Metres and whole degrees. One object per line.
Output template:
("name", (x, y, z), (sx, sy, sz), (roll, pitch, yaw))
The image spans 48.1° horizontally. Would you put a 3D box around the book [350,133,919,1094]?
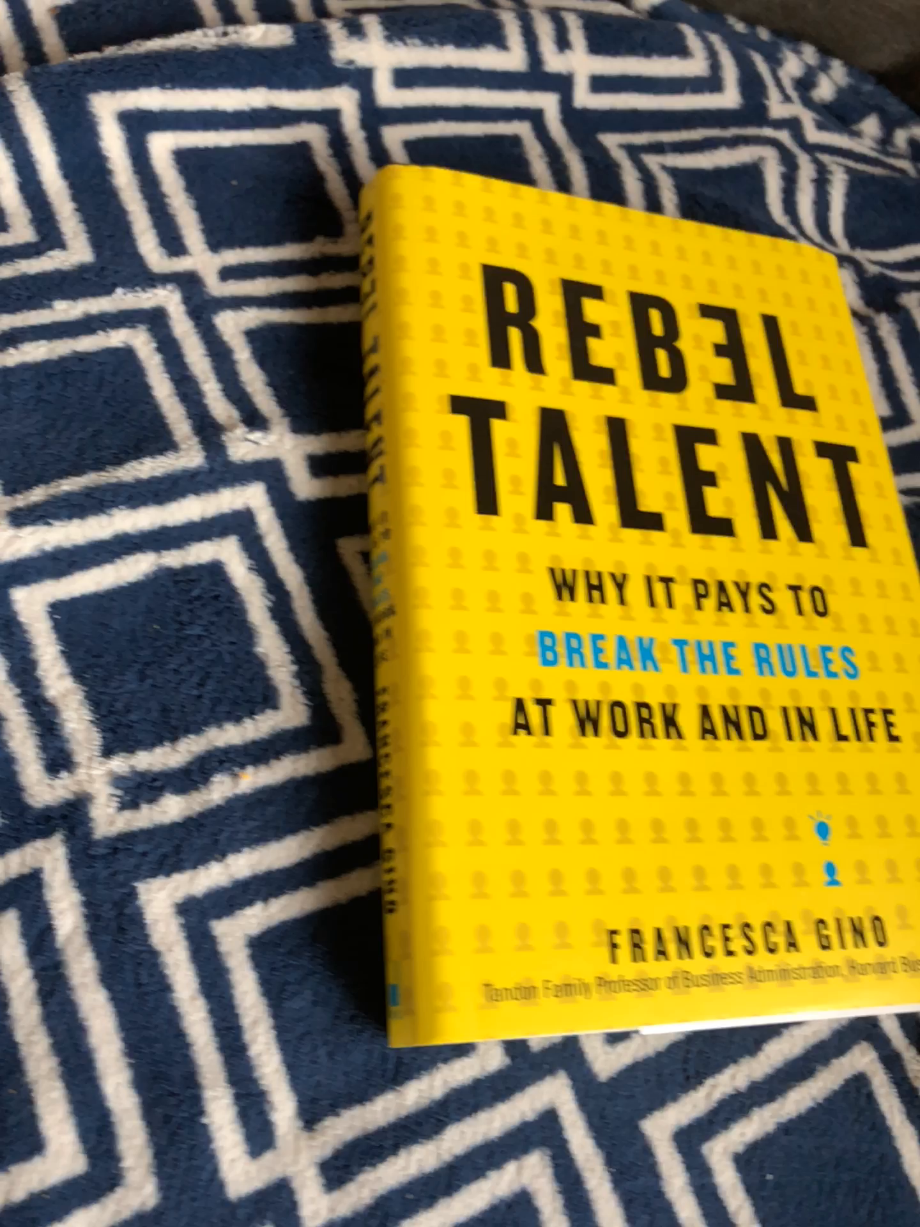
("book", (0.060, -0.010, 0.275), (0.167, 0.032, 0.237), (4, 66, -20))
